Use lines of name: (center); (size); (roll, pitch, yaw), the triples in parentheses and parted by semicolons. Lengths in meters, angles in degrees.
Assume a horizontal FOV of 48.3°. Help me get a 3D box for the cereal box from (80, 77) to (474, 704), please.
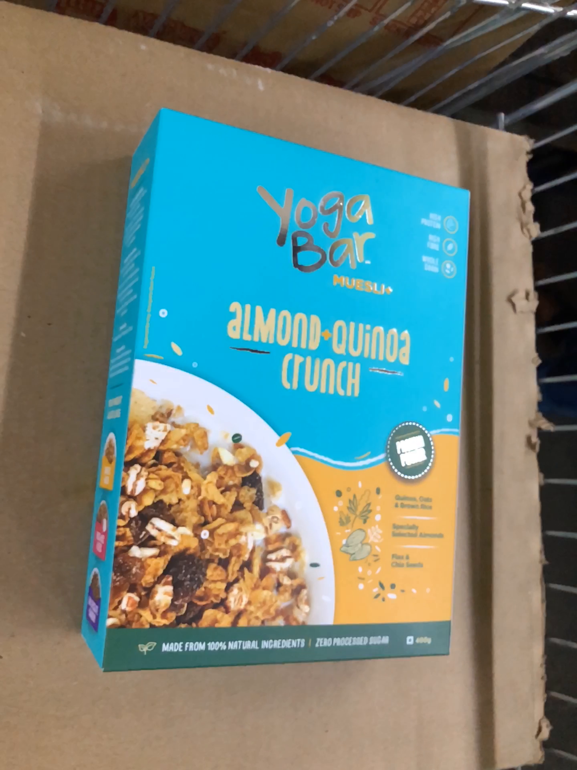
cereal box: (-0.001, 0.006, 0.310); (0.160, 0.070, 0.240); (6, 84, -25)
